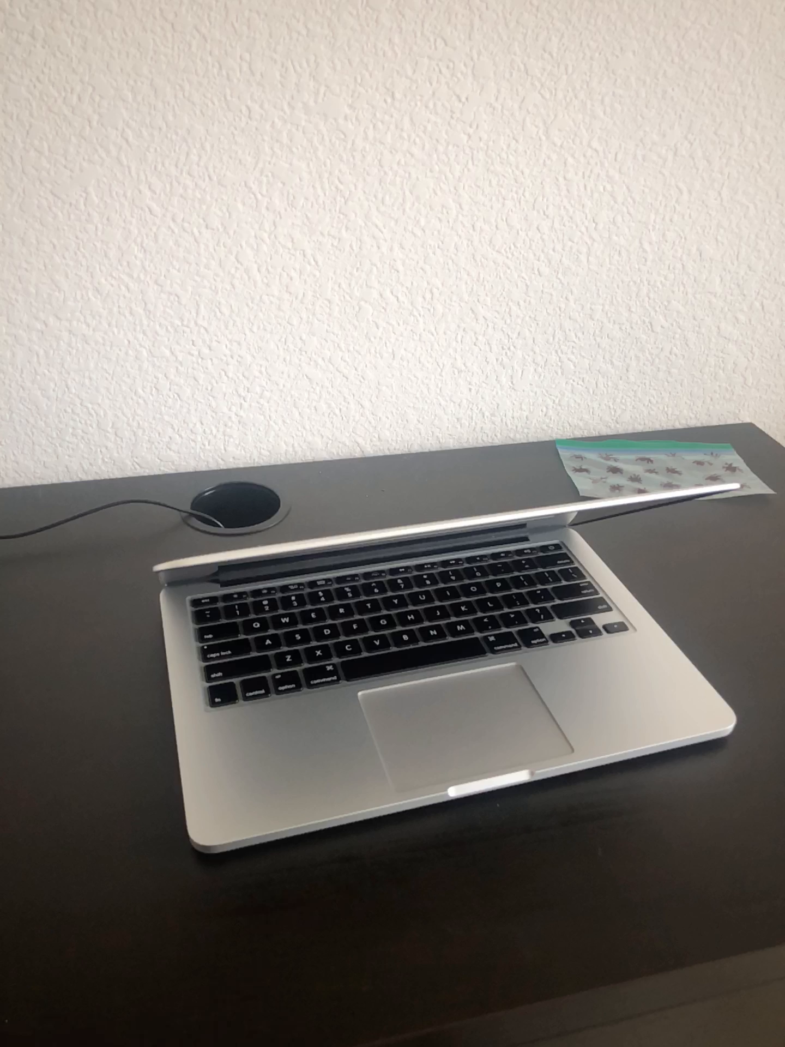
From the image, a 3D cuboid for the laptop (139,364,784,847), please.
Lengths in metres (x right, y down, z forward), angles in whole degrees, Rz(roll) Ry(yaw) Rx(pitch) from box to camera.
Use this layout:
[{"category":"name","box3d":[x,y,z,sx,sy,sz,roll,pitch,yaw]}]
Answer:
[{"category":"laptop","box3d":[0.023,0.021,0.508,0.309,0.133,0.225,-8,32,-15]}]
